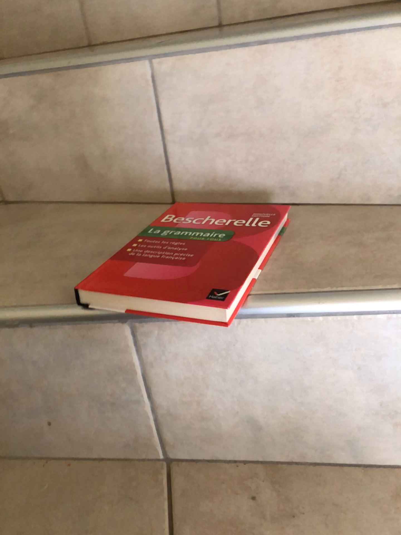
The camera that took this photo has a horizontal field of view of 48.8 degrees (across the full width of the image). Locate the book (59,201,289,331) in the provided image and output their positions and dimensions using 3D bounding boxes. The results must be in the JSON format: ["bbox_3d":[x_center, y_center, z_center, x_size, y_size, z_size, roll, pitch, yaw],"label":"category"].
[{"bbox_3d":[-0.011,-0.017,0.420,0.142,0.020,0.202,5,30,24],"label":"book"}]
